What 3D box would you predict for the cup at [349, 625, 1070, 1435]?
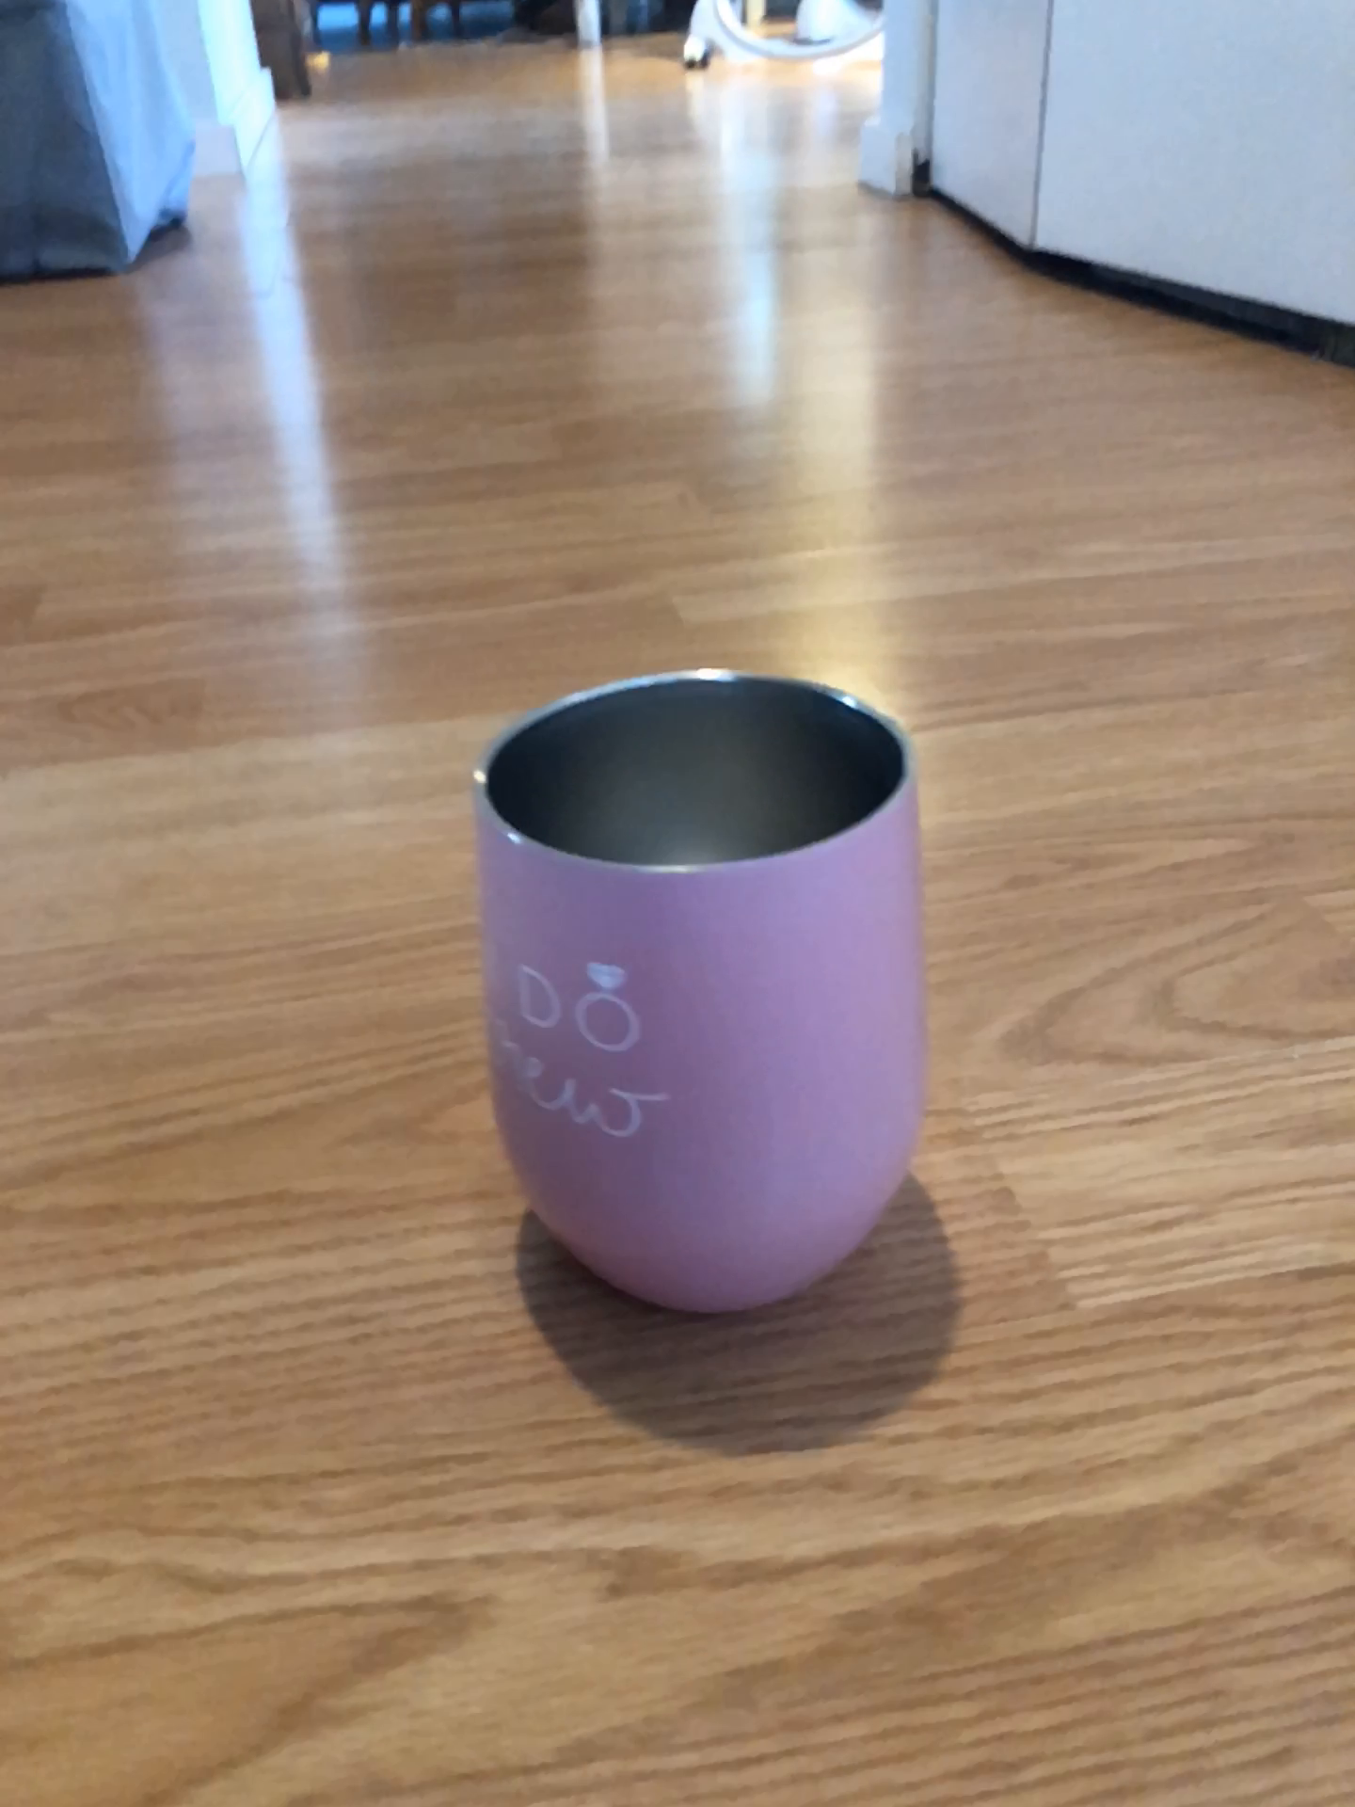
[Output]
[{"bbox_3d":[0.007,0.017,0.292,0.090,0.100,0.090,-2,32,1],"label":"cup"}]
